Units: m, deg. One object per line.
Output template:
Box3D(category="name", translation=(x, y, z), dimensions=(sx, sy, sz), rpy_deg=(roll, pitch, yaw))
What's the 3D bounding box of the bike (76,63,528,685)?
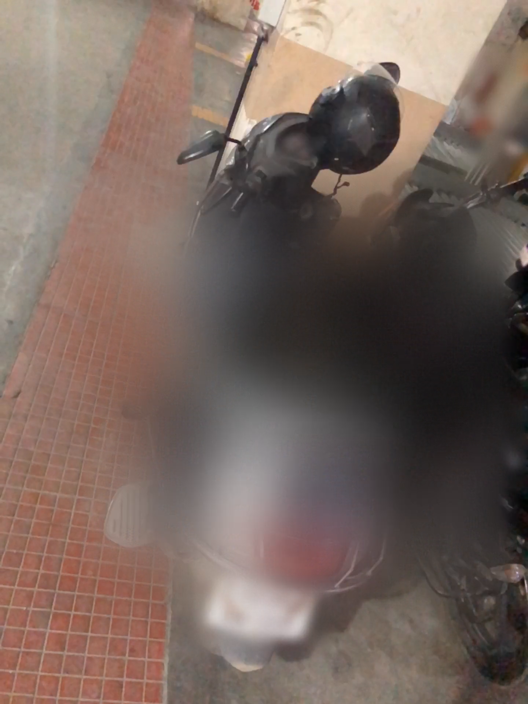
Box3D(category="bike", translation=(-0.127, -0.051, 1.669), dimensions=(0.595, 0.988, 1.499), rpy_deg=(10, 35, -22))
